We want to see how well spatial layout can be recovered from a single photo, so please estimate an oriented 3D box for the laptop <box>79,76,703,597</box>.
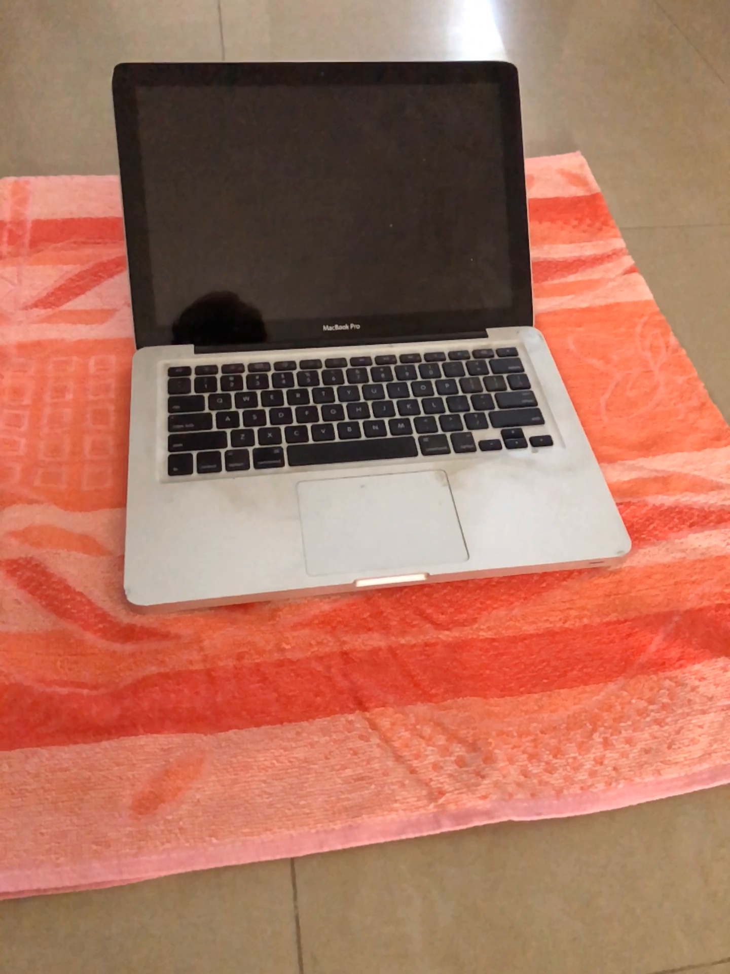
[{"bbox_3d":[-0.010,-0.133,0.560,0.309,0.133,0.374,-5,51,-9],"label":"laptop"}]
